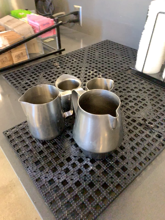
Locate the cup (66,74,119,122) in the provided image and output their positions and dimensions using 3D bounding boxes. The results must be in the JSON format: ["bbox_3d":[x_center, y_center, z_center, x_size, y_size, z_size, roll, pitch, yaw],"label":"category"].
[{"bbox_3d":[0.025,-0.034,0.439,0.110,0.070,0.070,-20,44,-21],"label":"cup"}]

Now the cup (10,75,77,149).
[{"bbox_3d":[-0.087,0.003,0.405,0.120,0.119,0.080,-21,44,-21],"label":"cup"}]

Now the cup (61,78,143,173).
[{"bbox_3d":[0.031,0.026,0.366,0.100,0.119,0.141,-18,43,-19],"label":"cup"}]

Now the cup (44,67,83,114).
[{"bbox_3d":[-0.053,-0.058,0.469,0.070,0.070,0.111,-17,43,-18],"label":"cup"}]
